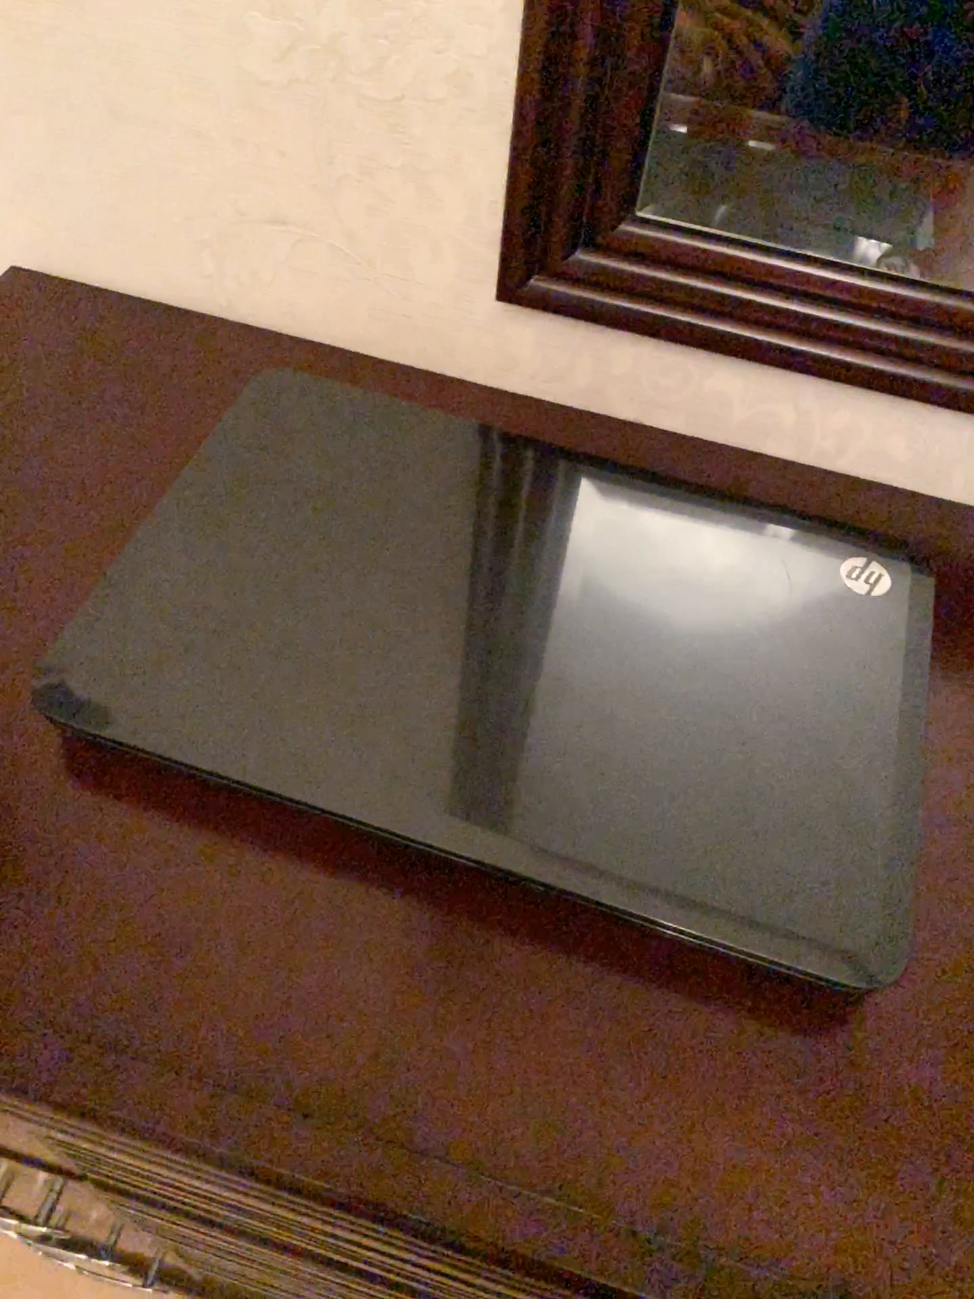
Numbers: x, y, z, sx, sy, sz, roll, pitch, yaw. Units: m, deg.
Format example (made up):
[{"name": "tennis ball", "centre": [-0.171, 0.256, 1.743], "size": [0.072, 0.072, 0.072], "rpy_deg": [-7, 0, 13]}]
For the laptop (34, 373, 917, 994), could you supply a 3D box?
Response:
[{"name": "laptop", "centre": [0.018, -0.008, 0.446], "size": [0.341, 0.007, 0.224], "rpy_deg": [17, 54, 4]}]
